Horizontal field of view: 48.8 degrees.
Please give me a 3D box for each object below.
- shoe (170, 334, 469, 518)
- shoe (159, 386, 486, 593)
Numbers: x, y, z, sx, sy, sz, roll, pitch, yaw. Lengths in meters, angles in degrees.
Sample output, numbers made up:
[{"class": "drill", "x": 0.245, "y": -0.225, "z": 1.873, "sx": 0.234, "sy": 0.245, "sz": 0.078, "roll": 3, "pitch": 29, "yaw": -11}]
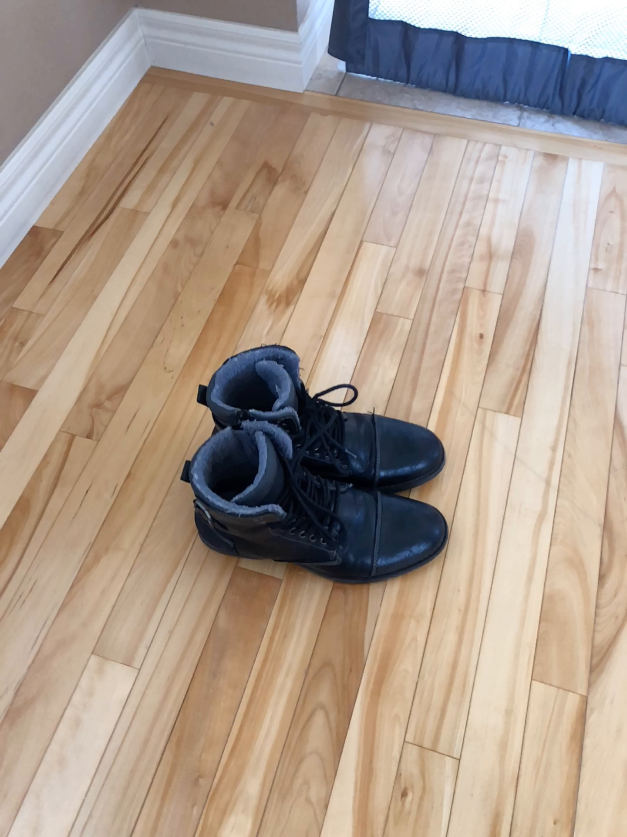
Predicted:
[{"class": "shoe", "x": 0.010, "y": 0.015, "z": 0.809, "sx": 0.300, "sy": 0.200, "sz": 0.120, "roll": 2, "pitch": 58, "yaw": 2}, {"class": "shoe", "x": 0.013, "y": 0.081, "z": 0.726, "sx": 0.290, "sy": 0.200, "sz": 0.120, "roll": 4, "pitch": 58, "yaw": 4}]
